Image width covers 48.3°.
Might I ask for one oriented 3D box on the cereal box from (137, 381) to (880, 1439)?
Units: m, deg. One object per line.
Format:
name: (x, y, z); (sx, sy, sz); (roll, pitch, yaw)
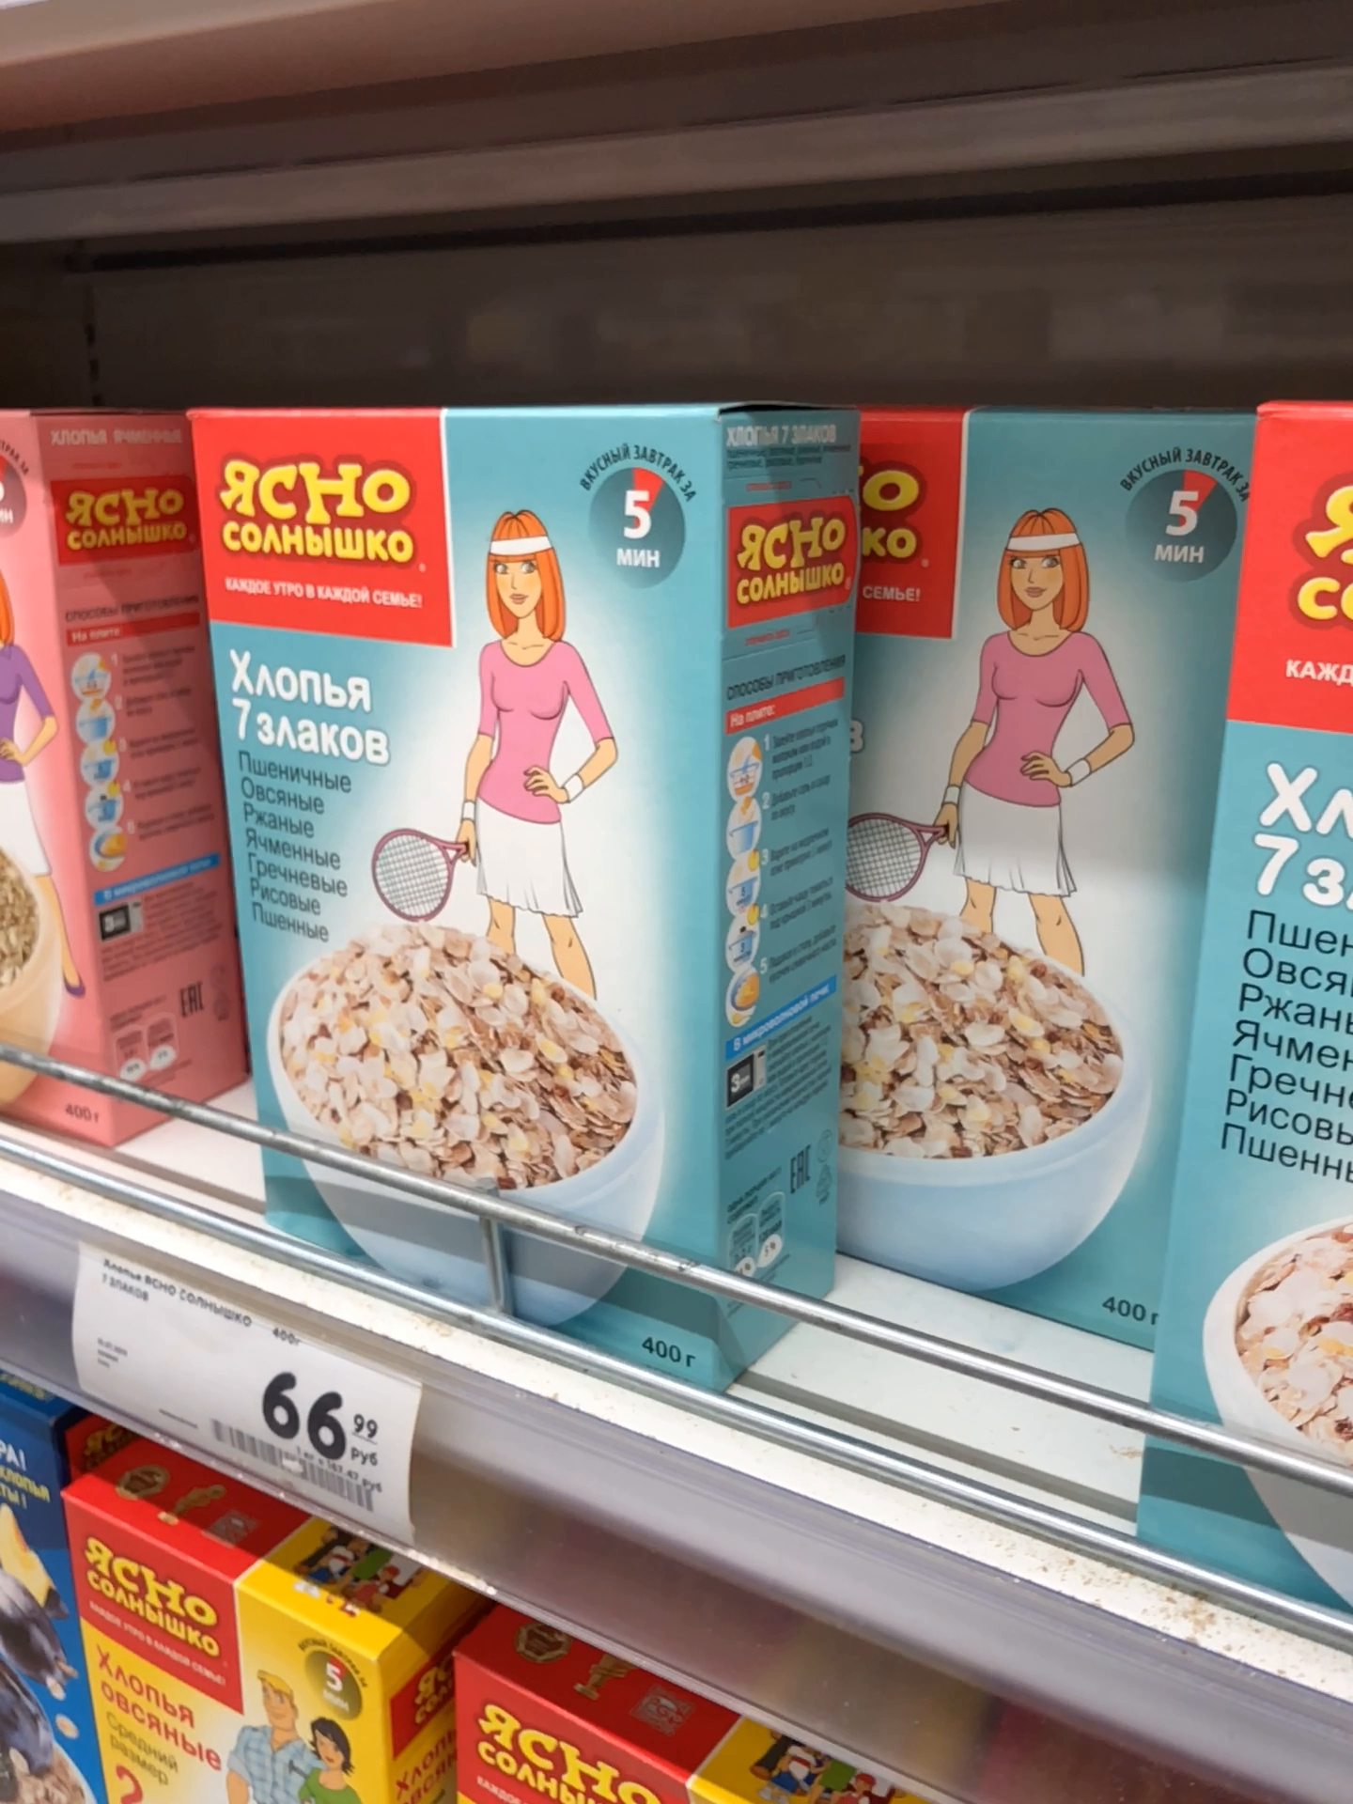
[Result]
cereal box: (-0.036, -0.007, 0.314); (0.140, 0.189, 0.050); (11, 20, 31)
